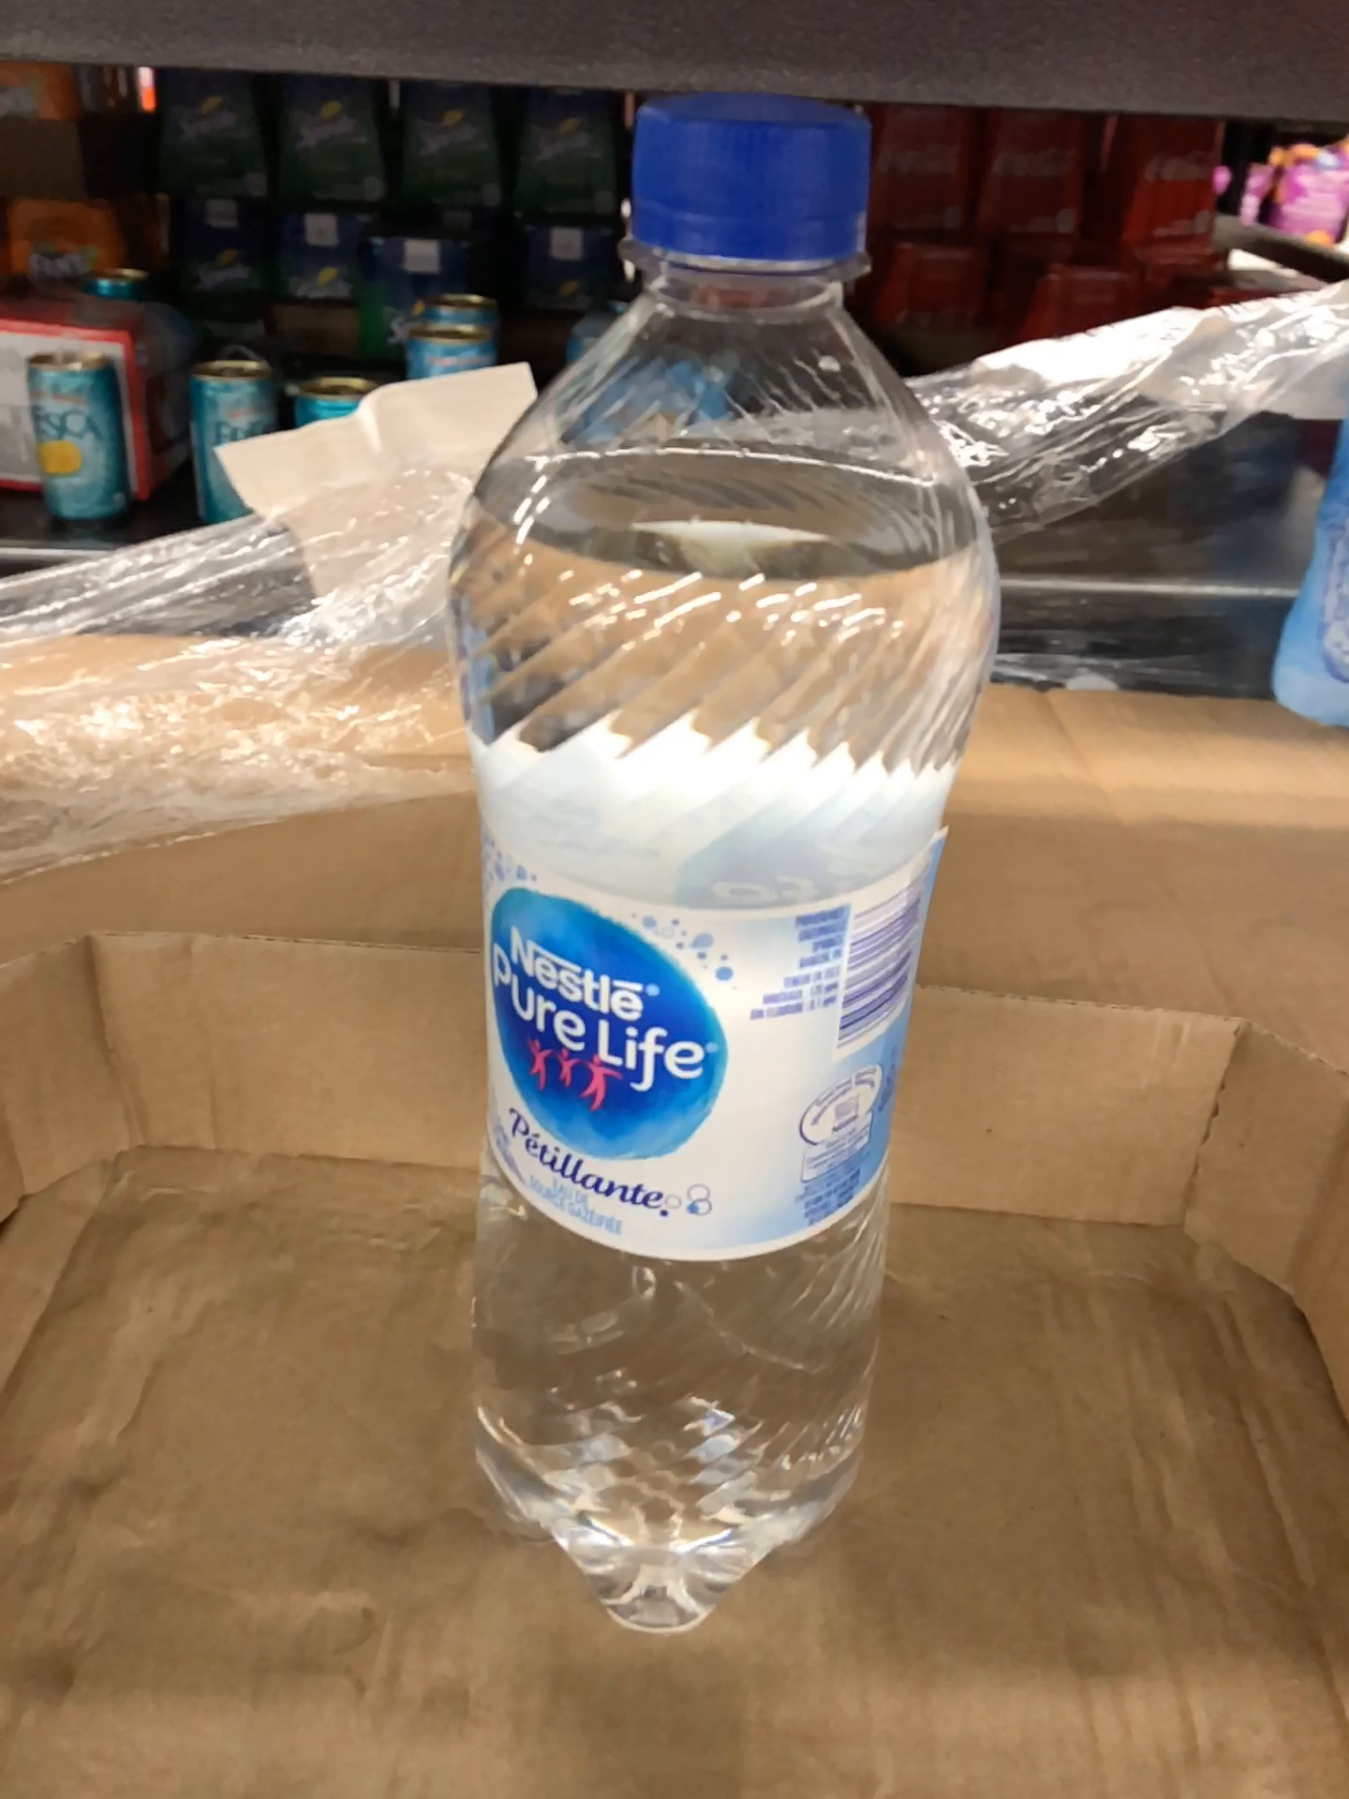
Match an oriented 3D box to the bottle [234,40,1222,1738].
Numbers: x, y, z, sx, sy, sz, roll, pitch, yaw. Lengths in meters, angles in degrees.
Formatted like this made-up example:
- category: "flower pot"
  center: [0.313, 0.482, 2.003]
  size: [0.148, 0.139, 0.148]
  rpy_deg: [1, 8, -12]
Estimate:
- category: "bottle"
  center: [0.004, 0.004, 0.278]
  size: [0.100, 0.278, 0.101]
  rpy_deg: [3, 30, -1]
